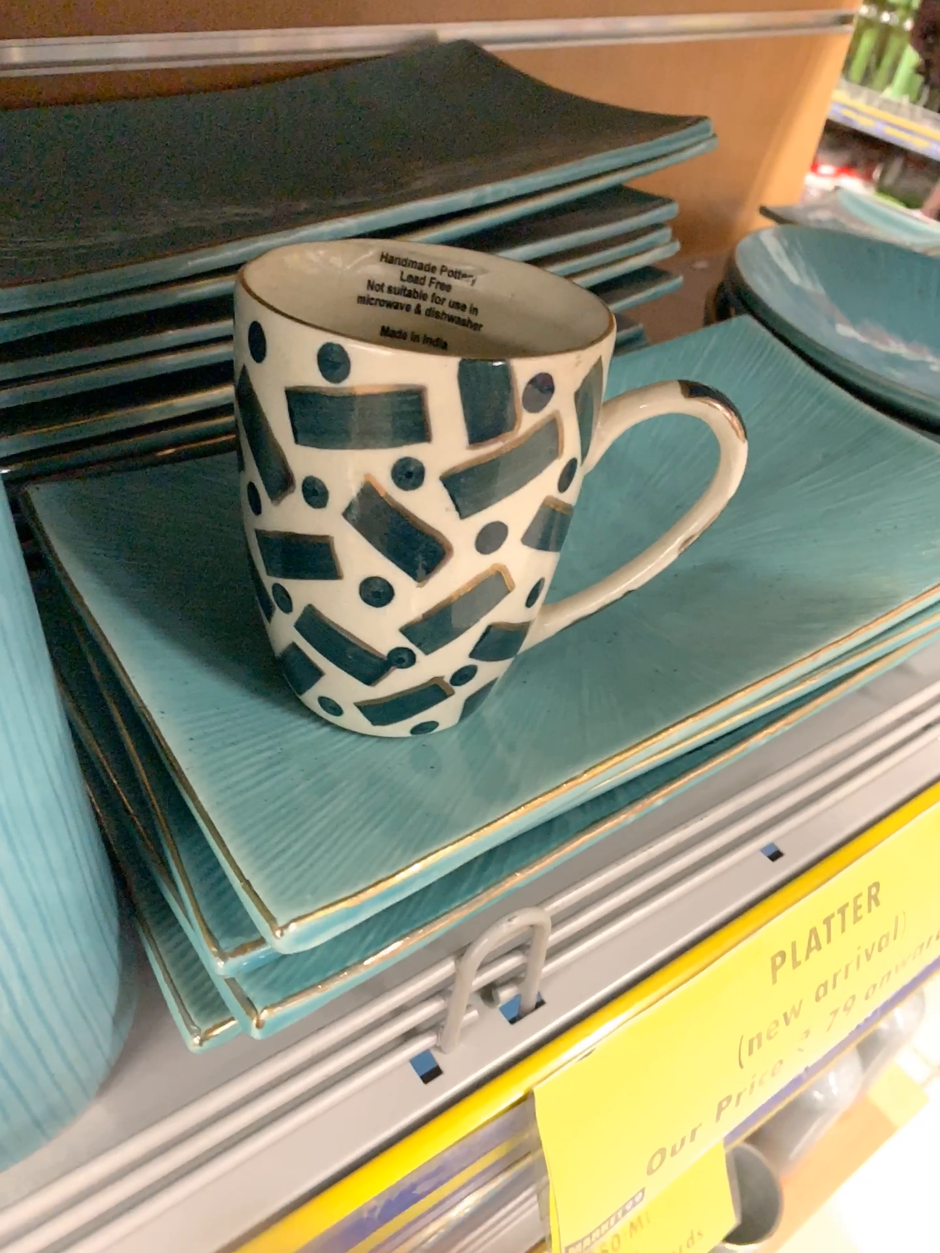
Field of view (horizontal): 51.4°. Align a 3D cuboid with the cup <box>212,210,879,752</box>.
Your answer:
[{"bbox_3d":[0.005,-0.035,0.212,0.110,0.080,0.080,-4,35,-18],"label":"cup"}]
